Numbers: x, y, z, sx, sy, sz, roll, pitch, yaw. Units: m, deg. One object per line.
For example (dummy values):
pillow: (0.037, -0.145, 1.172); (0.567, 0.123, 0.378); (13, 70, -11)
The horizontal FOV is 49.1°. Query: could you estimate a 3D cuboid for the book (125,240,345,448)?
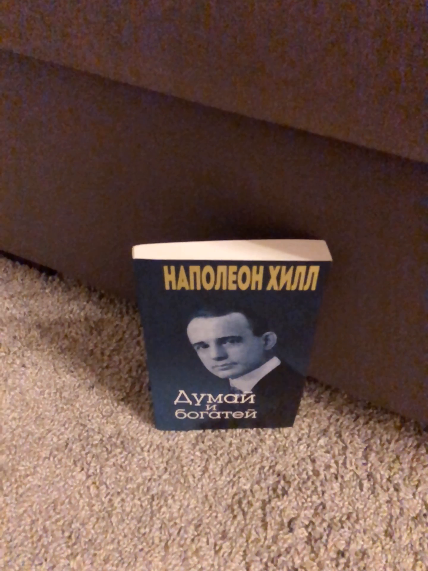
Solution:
book: (0.010, 0.055, 0.357); (0.132, 0.198, 0.030); (-1, 42, -4)
